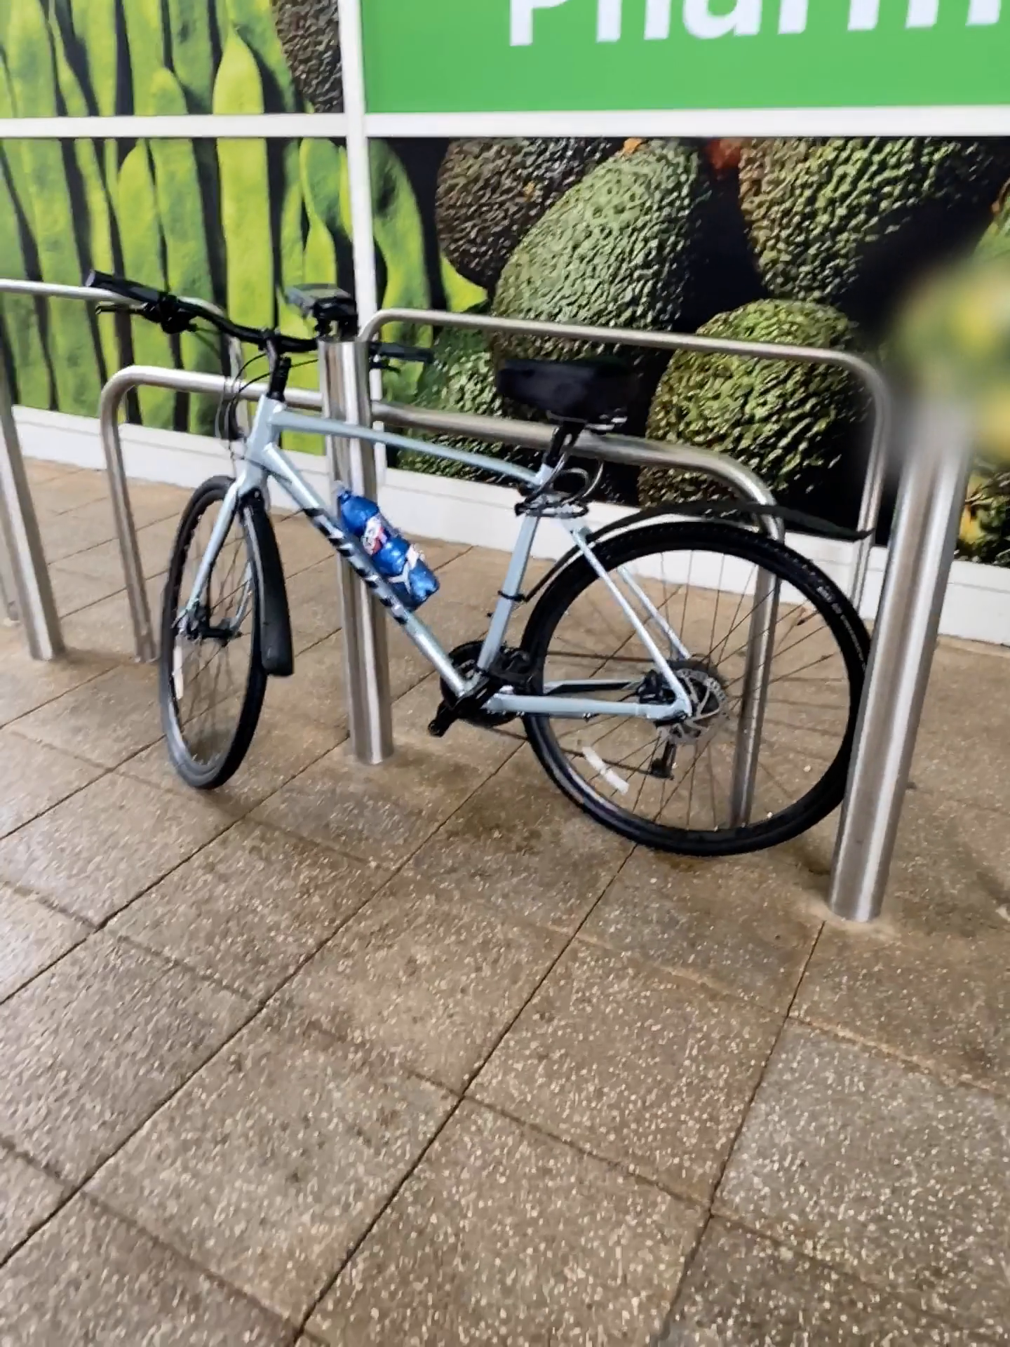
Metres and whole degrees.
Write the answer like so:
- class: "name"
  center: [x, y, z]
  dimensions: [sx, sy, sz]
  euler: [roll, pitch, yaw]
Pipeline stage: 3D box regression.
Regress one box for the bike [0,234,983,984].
- class: "bike"
  center: [-0.043, -0.221, 1.856]
  dimensions: [1.462, 0.962, 0.609]
  euler: [11, 29, 19]
